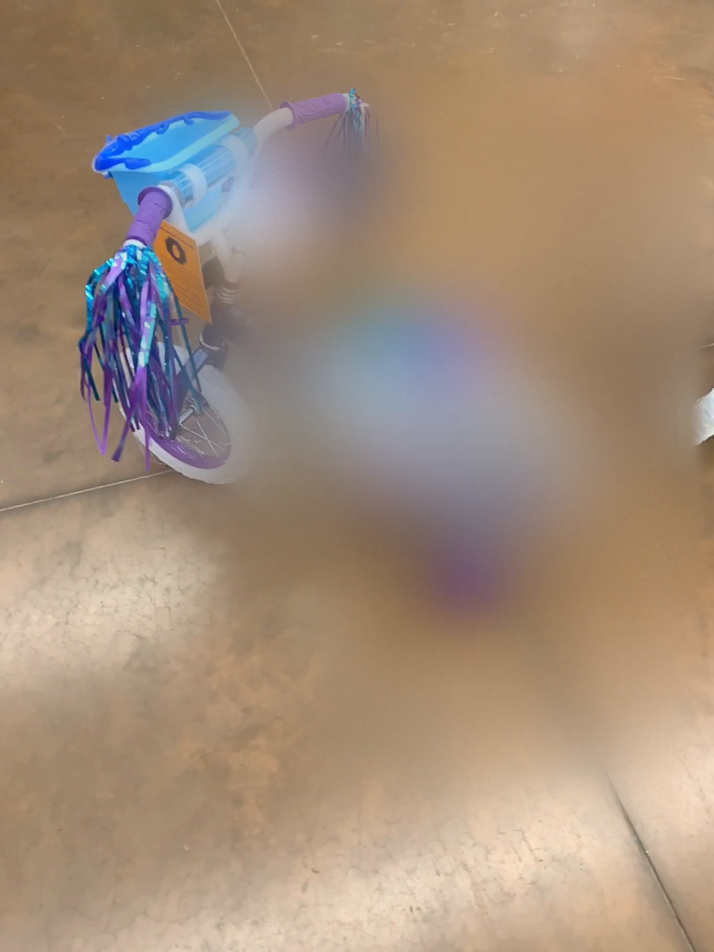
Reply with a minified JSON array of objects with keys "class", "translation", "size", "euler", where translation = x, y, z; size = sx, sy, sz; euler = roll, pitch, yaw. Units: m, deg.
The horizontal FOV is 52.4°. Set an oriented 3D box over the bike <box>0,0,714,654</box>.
[{"class":"bike","translation":[-0.015,-0.171,1.032],"size":[0.804,0.633,0.441],"euler":[14,54,3]}]
